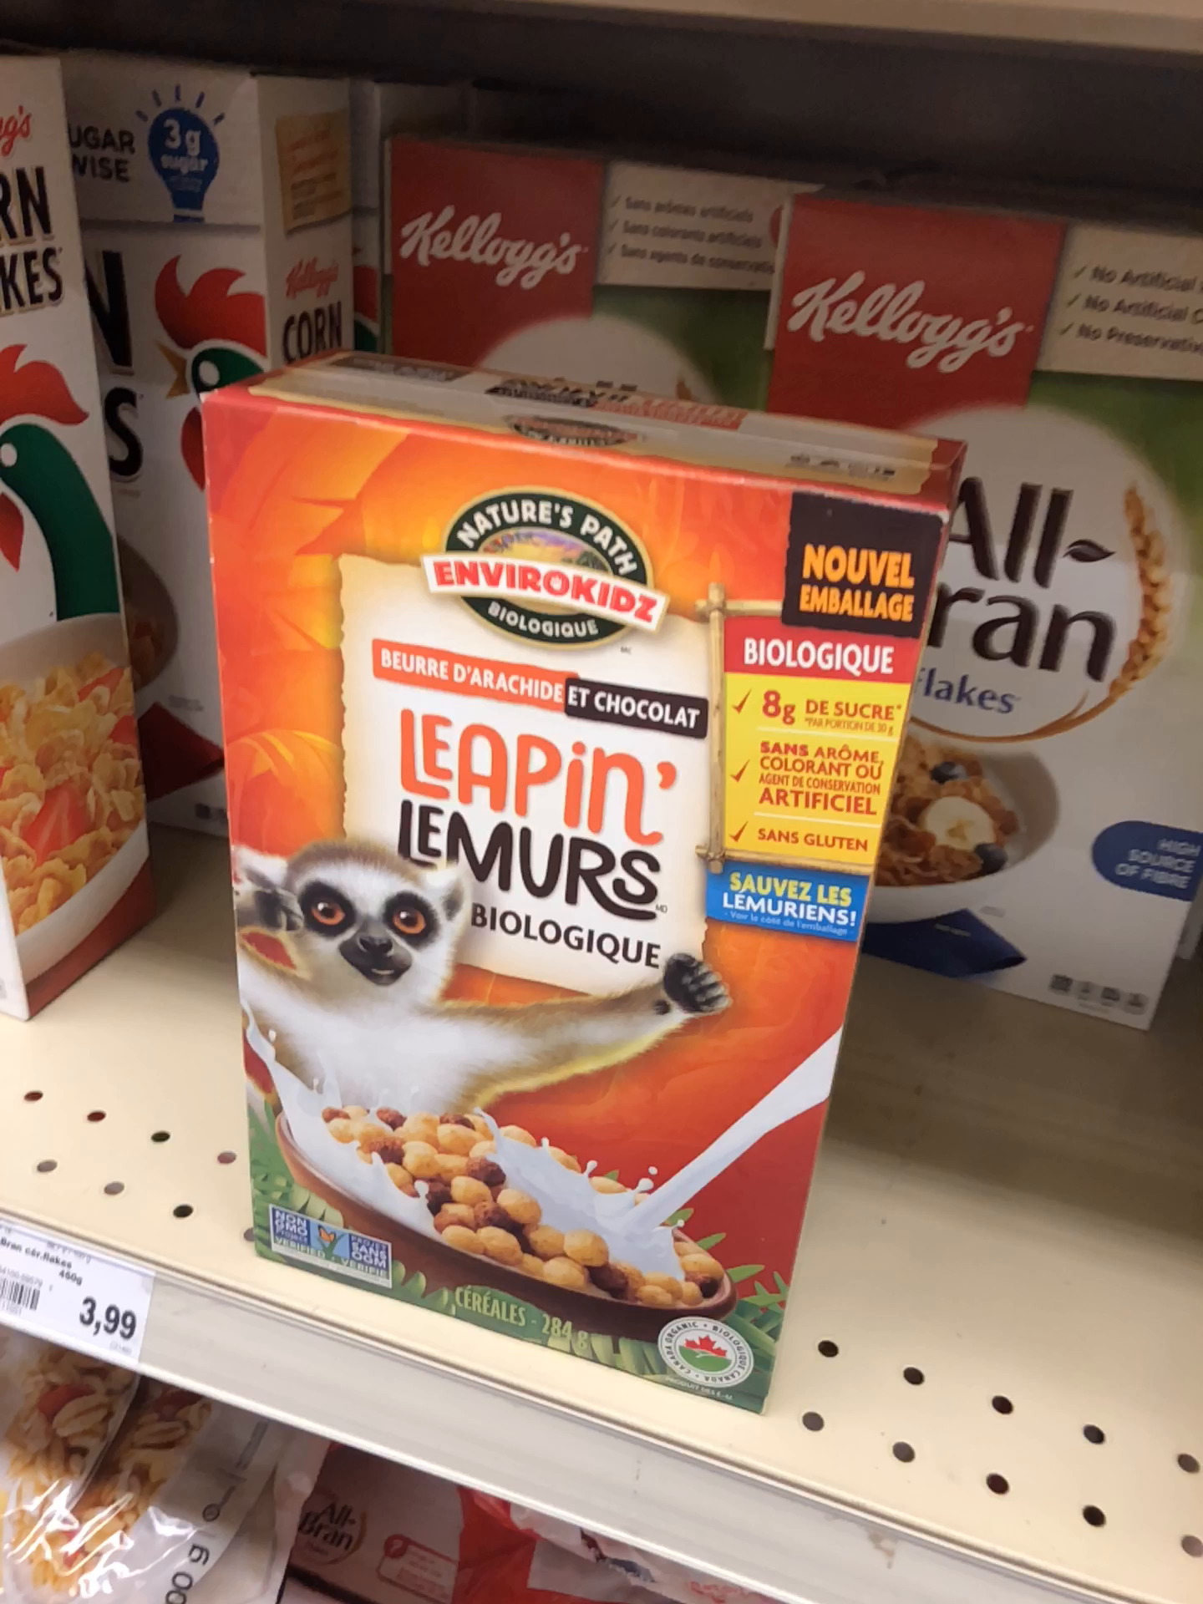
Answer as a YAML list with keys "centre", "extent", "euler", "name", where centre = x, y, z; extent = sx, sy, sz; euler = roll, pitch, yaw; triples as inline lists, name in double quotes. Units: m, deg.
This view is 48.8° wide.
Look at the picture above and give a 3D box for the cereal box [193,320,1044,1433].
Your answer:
- centre: [-0.002, 0.025, 0.347]
  extent: [0.170, 0.258, 0.071]
  euler: [12, 30, 13]
  name: "cereal box"
